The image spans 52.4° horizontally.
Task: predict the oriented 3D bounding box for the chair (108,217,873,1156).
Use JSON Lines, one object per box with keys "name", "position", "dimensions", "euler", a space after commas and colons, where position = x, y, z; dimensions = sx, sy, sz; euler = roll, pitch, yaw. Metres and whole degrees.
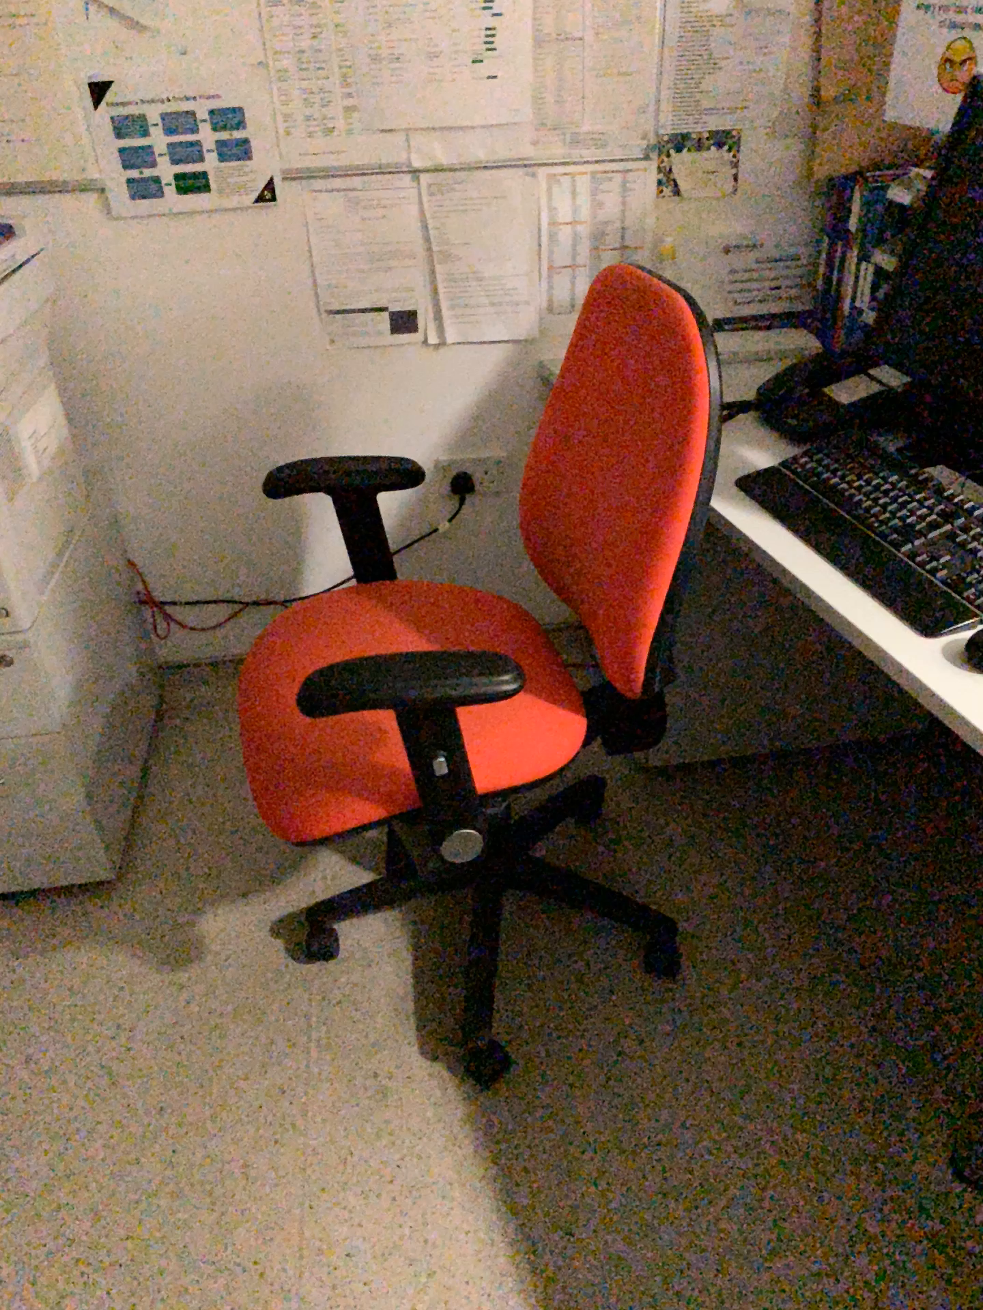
{"name": "chair", "position": [-0.052, -0.003, 1.346], "dimensions": [0.651, 0.921, 0.676], "euler": [-13, 35, -15]}
